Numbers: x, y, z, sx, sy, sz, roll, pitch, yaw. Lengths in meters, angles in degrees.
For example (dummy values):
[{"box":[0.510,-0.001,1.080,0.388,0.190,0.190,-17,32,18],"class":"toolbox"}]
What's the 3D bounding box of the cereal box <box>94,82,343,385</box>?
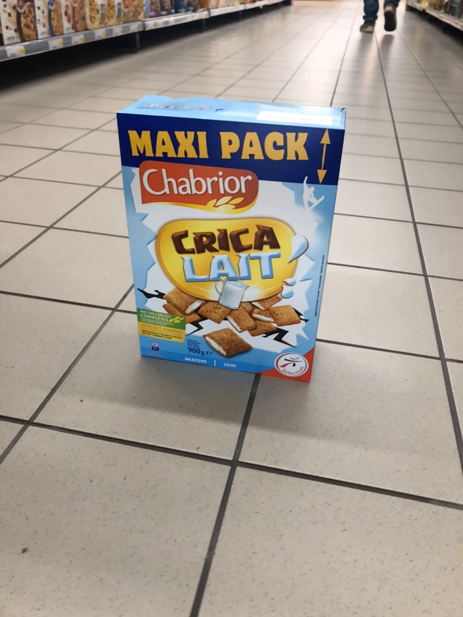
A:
[{"box":[-0.008,-0.071,0.513,0.200,0.268,0.091,8,33,11],"class":"cereal box"}]
